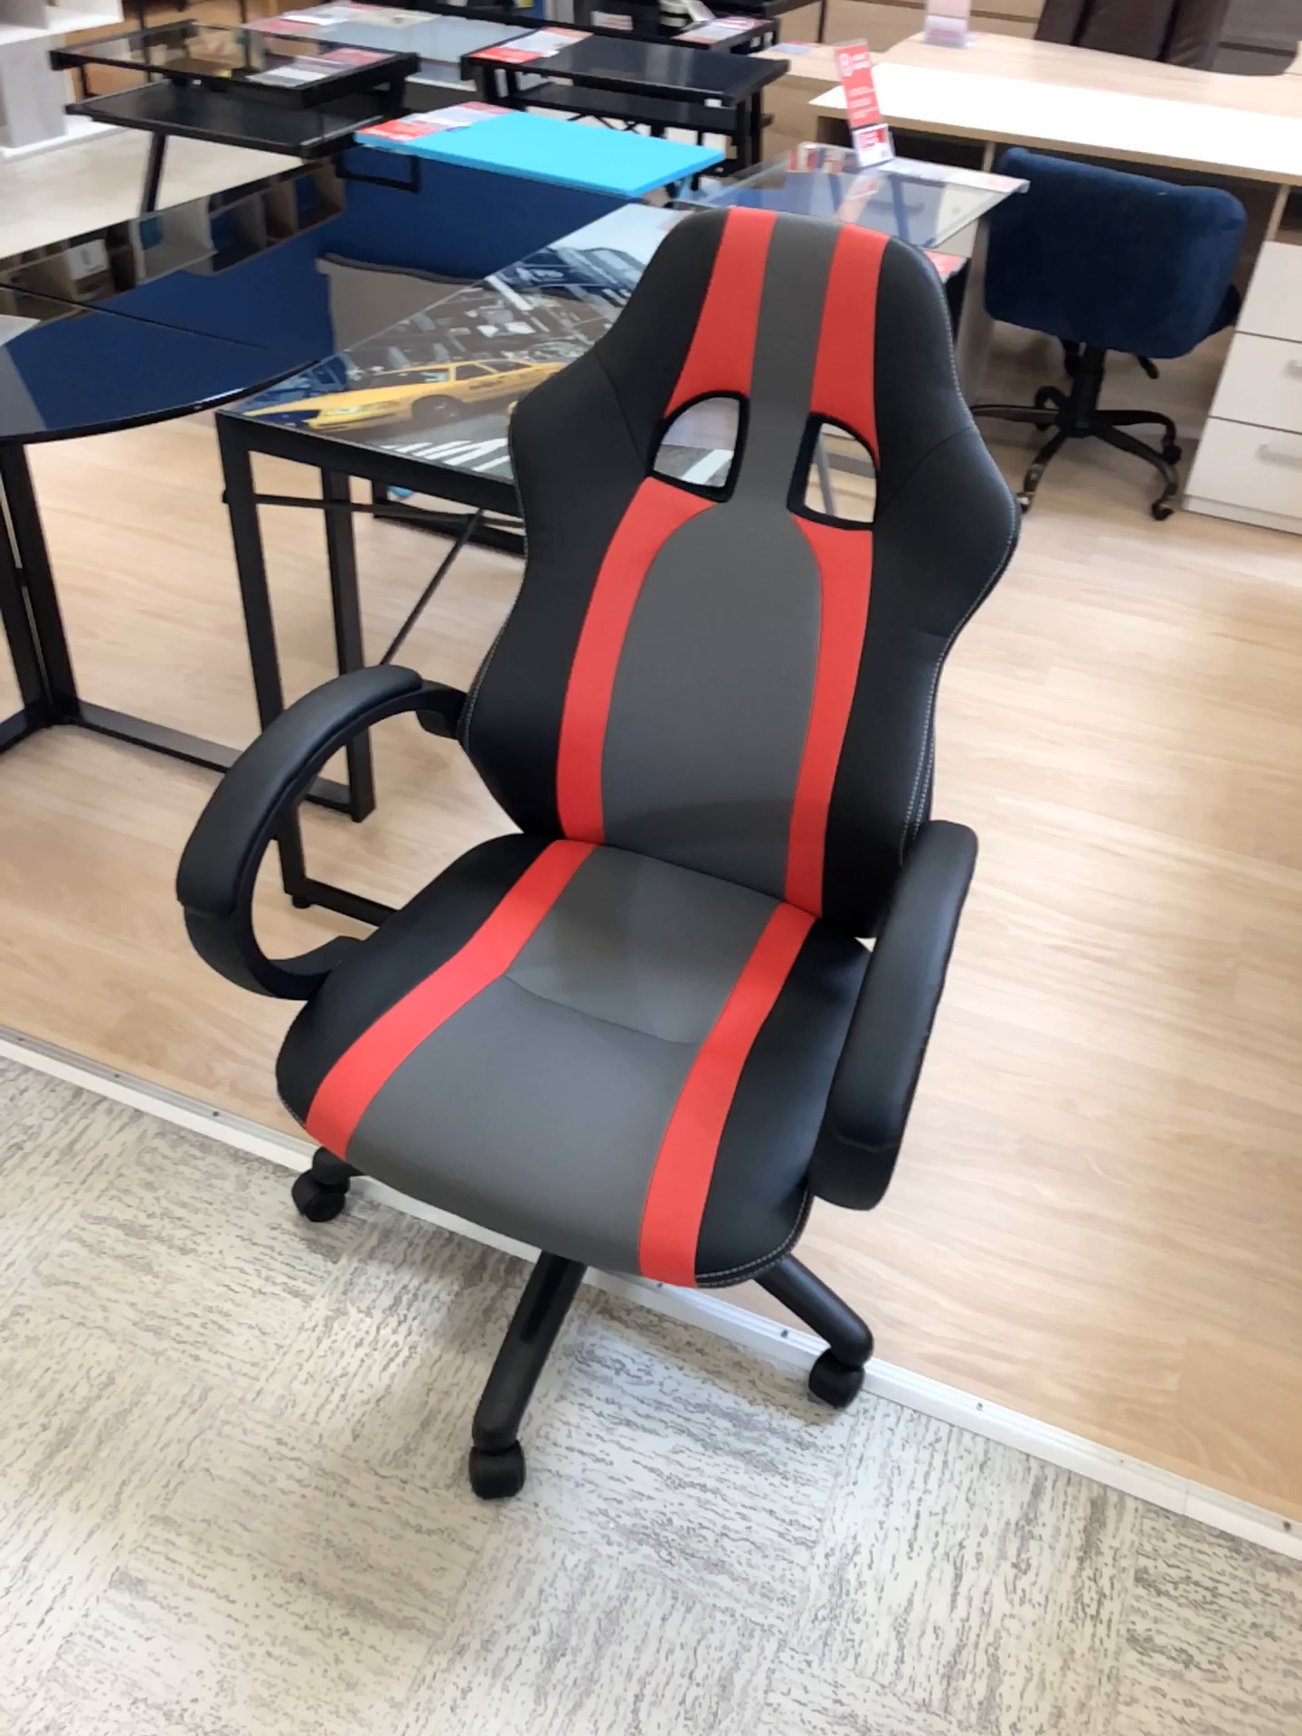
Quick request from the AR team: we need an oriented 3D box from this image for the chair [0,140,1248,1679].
[{"bbox_3d":[-0.022,-0.007,1.212,0.689,0.924,0.695,17,39,17],"label":"chair"}]
